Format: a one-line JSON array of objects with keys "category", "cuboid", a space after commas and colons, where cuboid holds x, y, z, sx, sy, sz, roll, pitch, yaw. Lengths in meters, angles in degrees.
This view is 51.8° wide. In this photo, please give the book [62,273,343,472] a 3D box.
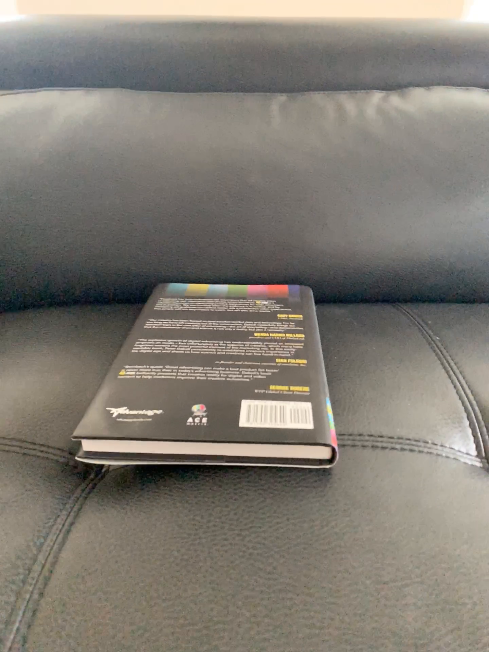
[{"category": "book", "cuboid": [-0.017, 0.016, 0.397, 0.160, 0.030, 0.238, 1, 27, 4]}]
